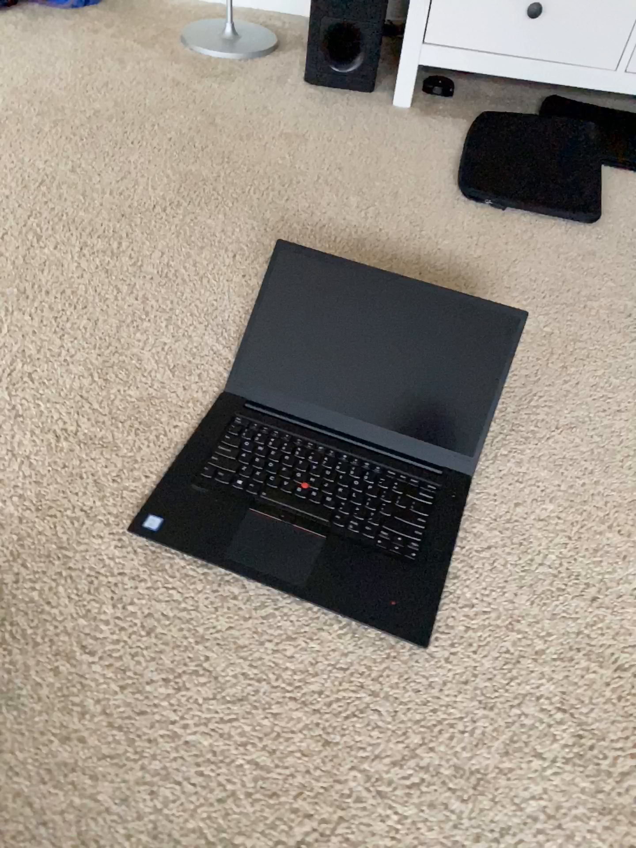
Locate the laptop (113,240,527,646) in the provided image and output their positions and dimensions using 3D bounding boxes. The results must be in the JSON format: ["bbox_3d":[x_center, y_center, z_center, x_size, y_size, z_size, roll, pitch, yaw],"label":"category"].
[{"bbox_3d":[0.031,-0.013,0.814,0.360,0.141,0.434,19,49,10],"label":"laptop"}]
